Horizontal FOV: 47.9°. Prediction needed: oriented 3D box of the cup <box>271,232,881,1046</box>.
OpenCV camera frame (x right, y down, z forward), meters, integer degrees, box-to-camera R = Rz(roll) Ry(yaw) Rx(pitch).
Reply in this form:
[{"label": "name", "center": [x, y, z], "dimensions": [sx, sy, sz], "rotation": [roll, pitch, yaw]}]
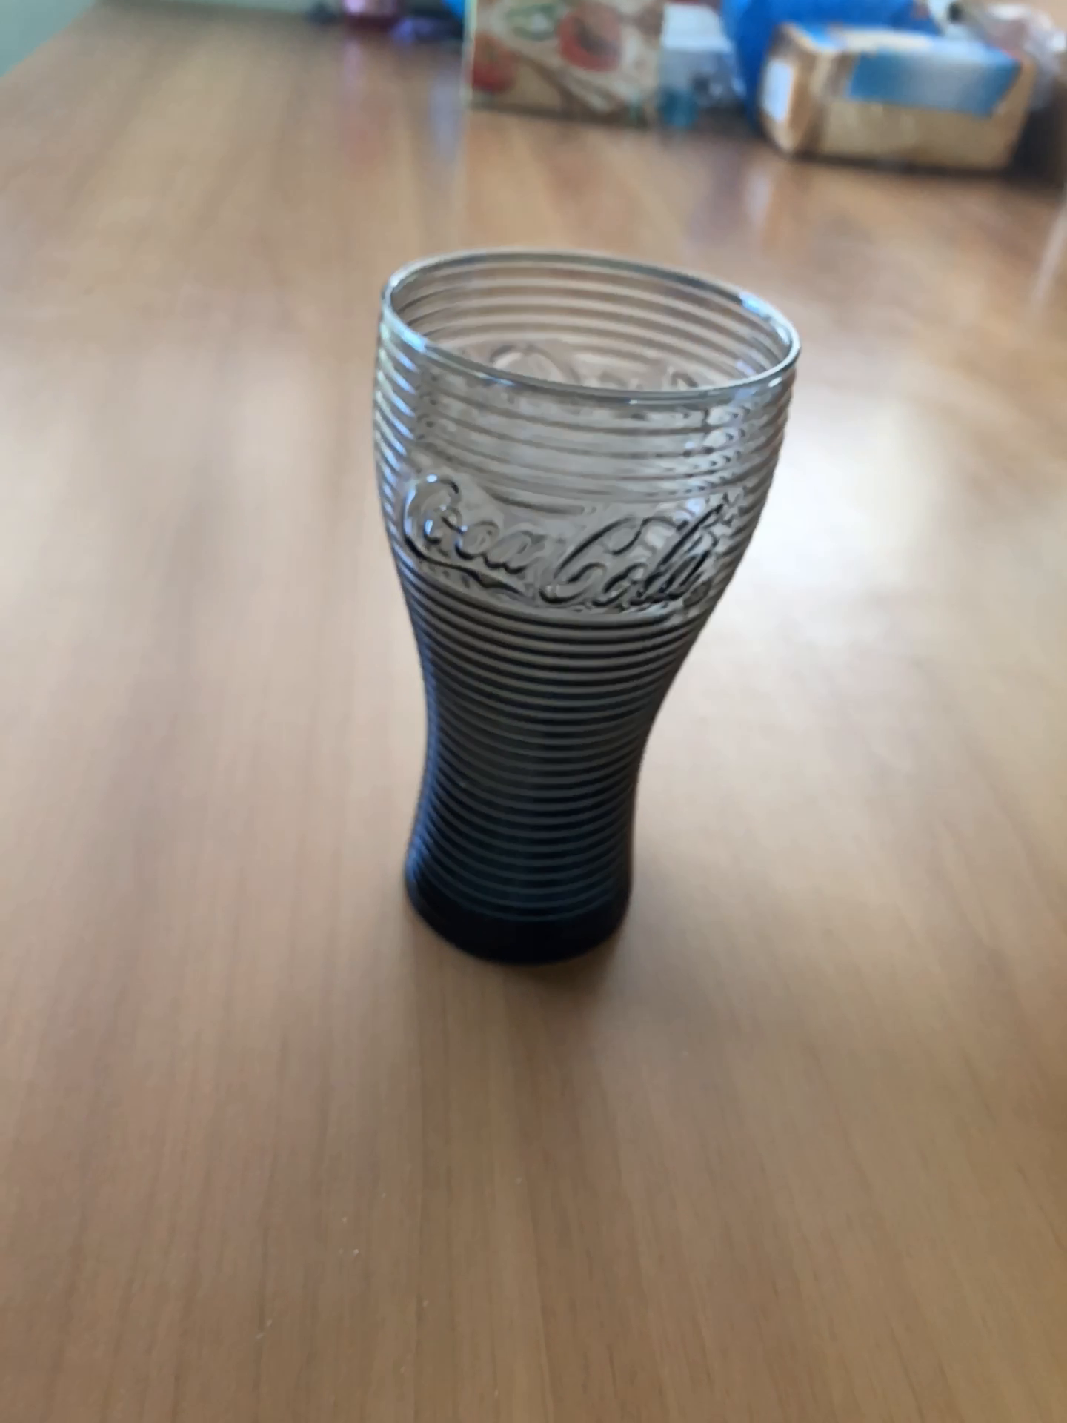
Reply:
[{"label": "cup", "center": [0.004, -0.017, 0.253], "dimensions": [0.080, 0.129, 0.081], "rotation": [5, 36, -4]}]
